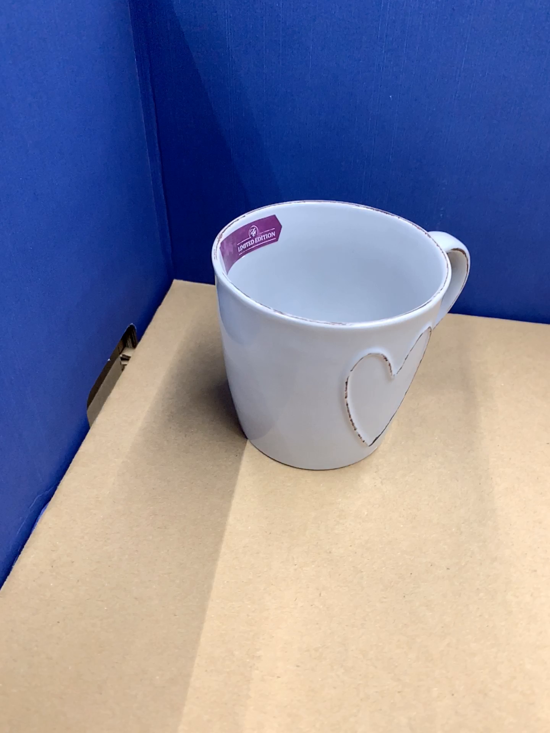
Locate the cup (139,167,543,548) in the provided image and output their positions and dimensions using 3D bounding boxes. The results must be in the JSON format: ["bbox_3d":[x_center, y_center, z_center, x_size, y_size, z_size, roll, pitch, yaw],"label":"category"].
[{"bbox_3d":[0.027,-0.015,0.240,0.125,0.085,0.091,-30,48,-33],"label":"cup"}]
